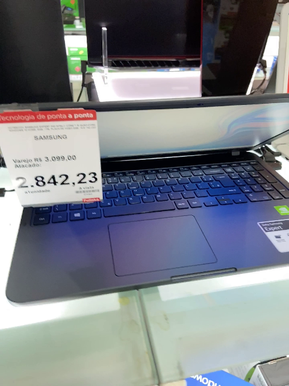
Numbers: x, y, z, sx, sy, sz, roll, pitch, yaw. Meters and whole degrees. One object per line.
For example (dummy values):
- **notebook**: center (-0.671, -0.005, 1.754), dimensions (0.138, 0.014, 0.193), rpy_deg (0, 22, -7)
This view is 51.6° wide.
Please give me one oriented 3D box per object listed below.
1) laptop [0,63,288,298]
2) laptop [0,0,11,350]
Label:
- **laptop**: center (0.037, -0.050, 0.351), dimensions (0.365, 0.146, 0.232), rpy_deg (-5, 35, -11)
- **laptop**: center (-0.390, -0.098, 0.312), dimensions (0.368, 0.240, 0.333), rpy_deg (-5, 35, -10)
